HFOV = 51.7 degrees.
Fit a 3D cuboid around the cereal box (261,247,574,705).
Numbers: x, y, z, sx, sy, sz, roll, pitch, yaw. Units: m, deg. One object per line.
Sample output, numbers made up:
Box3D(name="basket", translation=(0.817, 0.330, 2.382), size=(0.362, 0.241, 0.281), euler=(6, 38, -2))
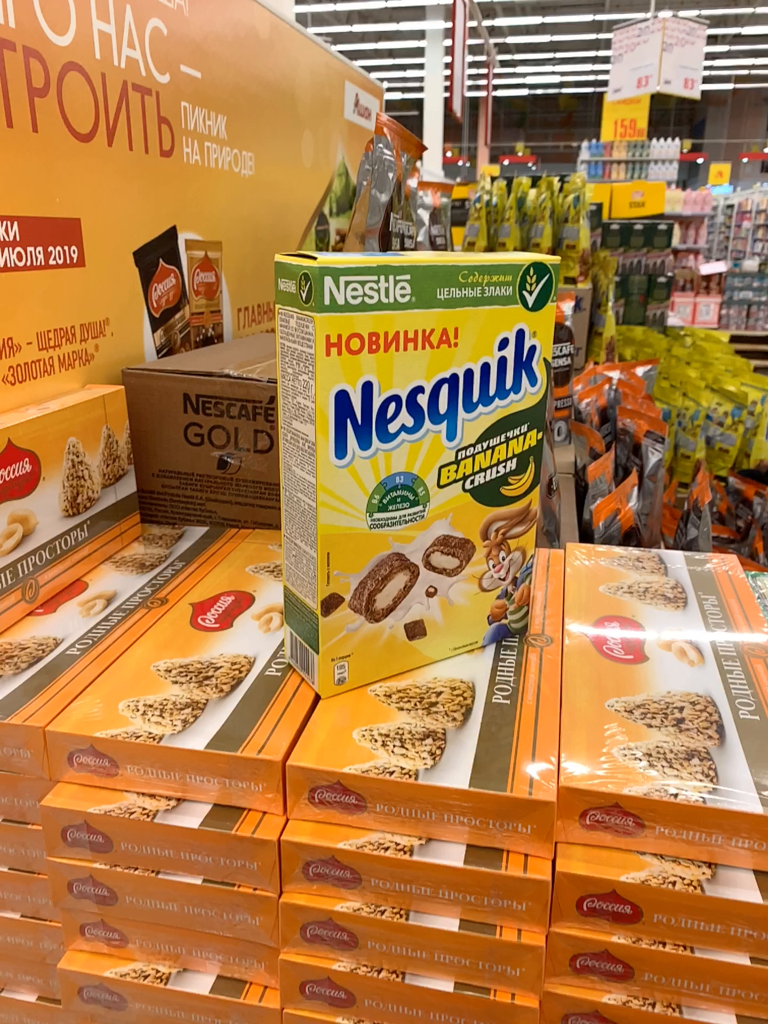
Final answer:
Box3D(name="cereal box", translation=(0.021, -0.027, 0.444), size=(0.160, 0.229, 0.050), euler=(-11, 21, -30))
